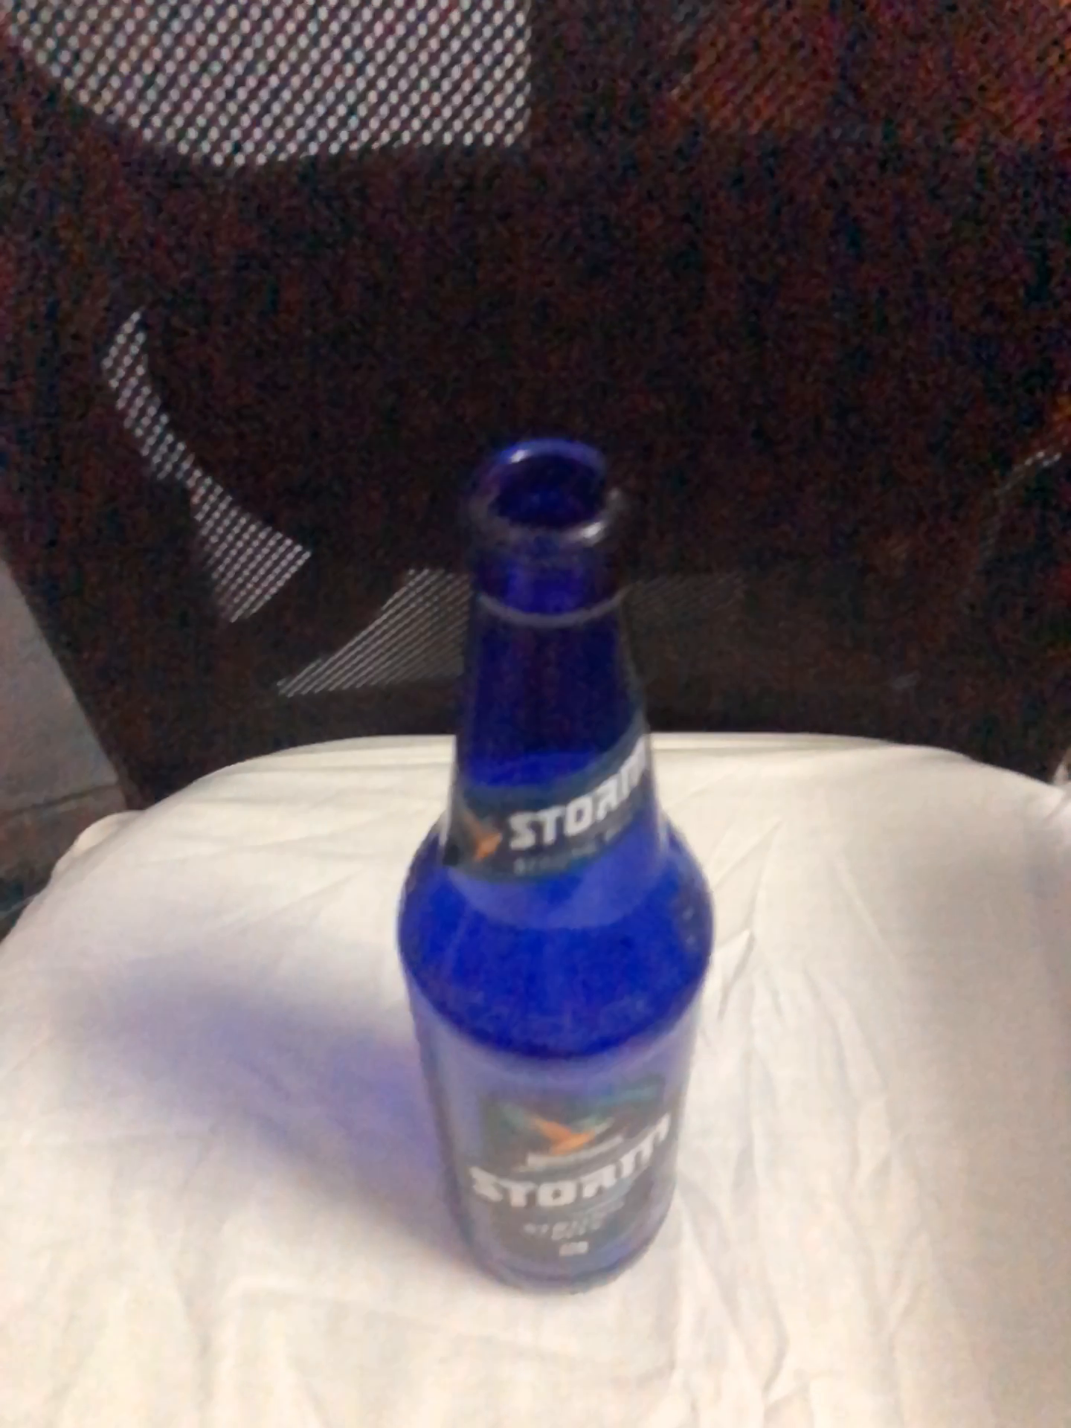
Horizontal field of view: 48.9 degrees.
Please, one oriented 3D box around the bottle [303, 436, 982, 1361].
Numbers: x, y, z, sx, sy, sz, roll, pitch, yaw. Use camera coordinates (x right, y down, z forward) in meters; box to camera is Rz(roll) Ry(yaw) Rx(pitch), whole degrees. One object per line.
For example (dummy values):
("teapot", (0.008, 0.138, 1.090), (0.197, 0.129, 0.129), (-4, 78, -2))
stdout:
("bottle", (0.009, 0.069, 0.259), (0.080, 0.259, 0.070), (-2, 49, -3))
